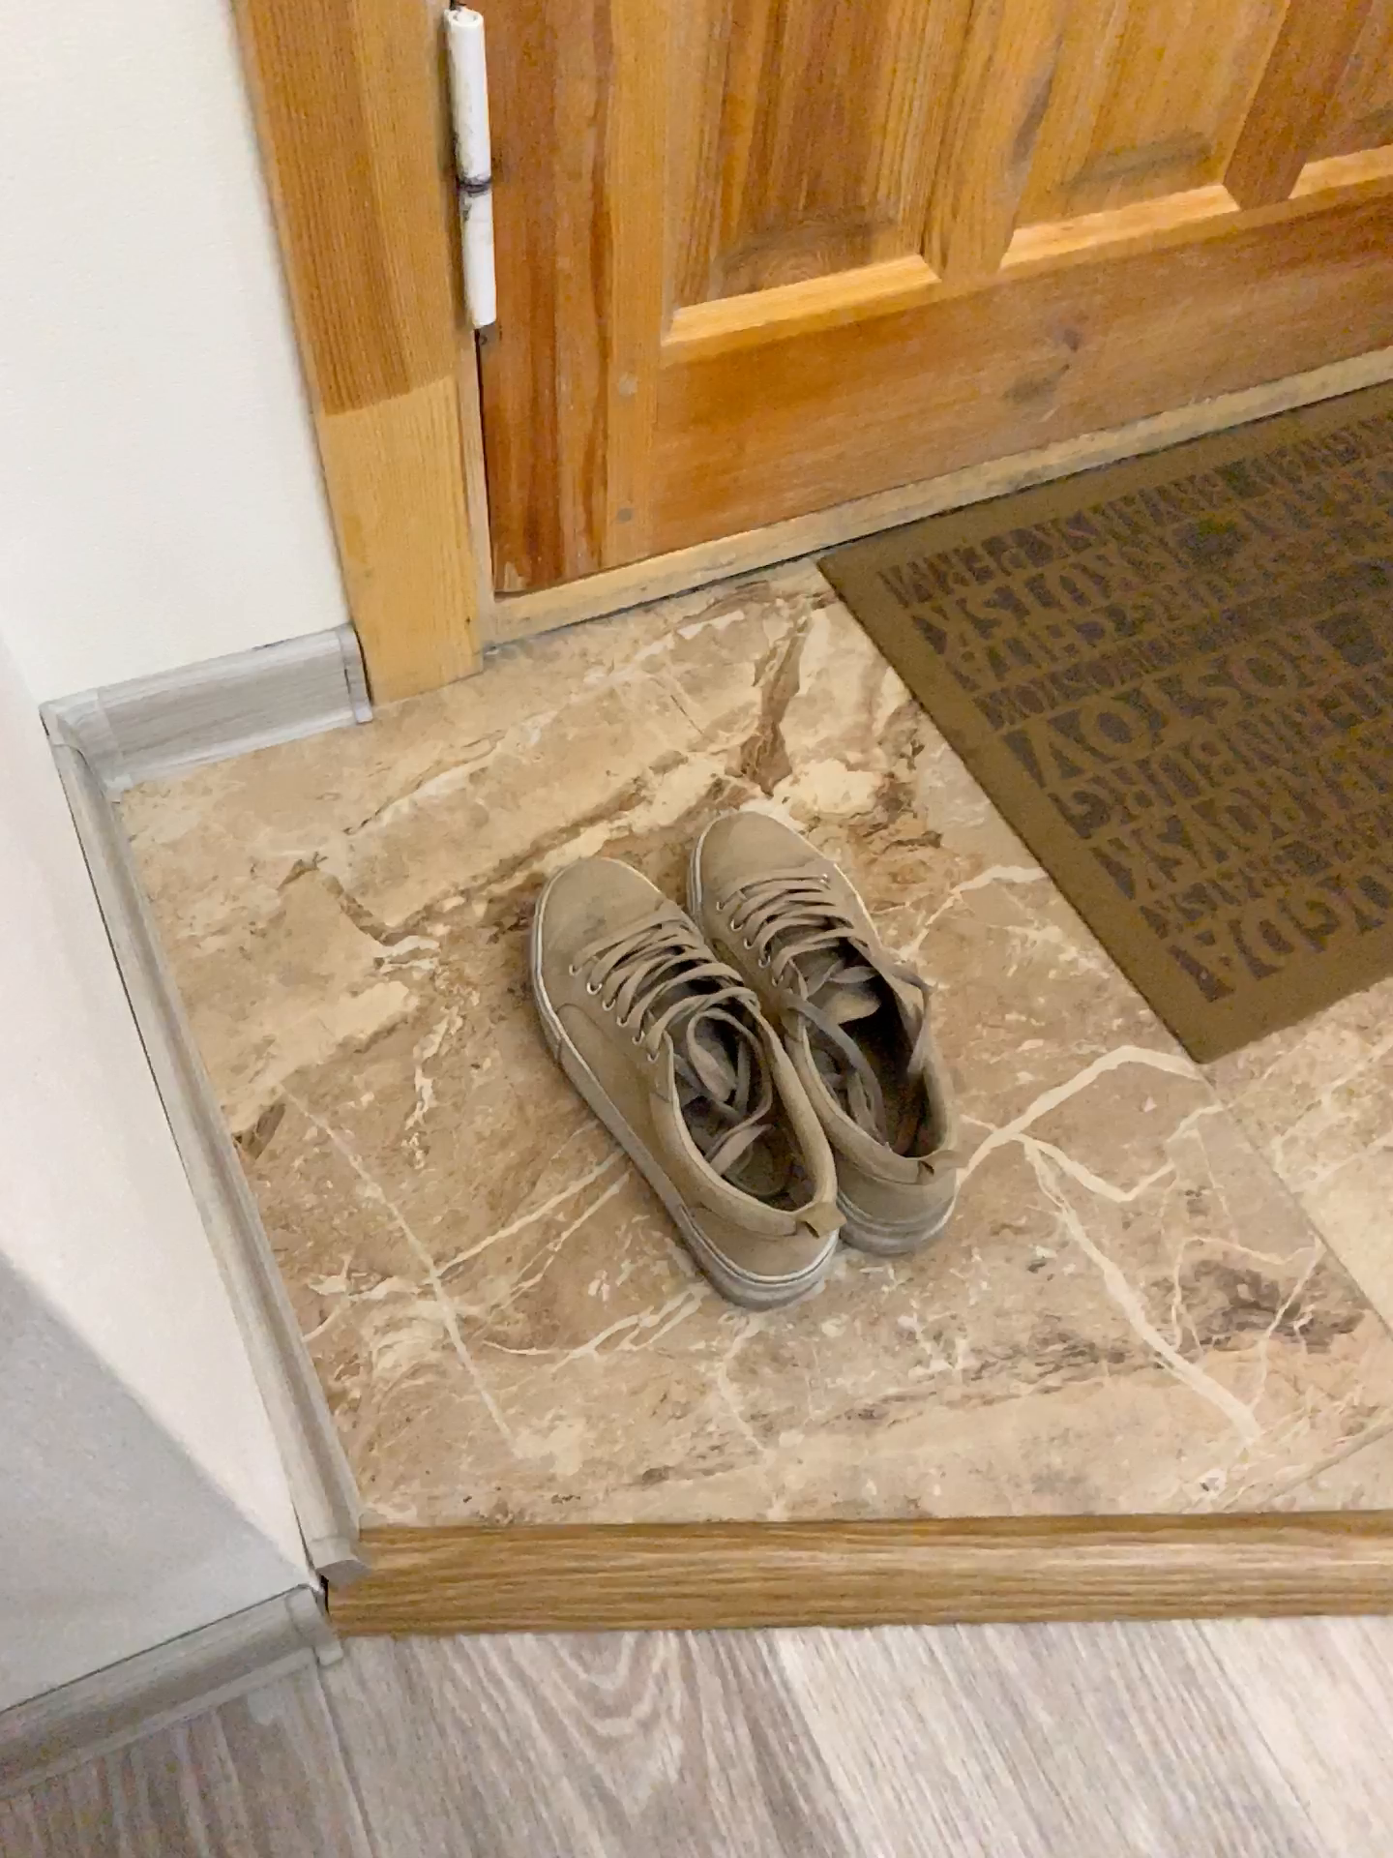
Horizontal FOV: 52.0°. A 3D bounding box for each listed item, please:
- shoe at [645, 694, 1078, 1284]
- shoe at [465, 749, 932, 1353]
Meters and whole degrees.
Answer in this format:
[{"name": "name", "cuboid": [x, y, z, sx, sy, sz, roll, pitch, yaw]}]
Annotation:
[{"name": "shoe", "cuboid": [0.062, 0.021, 0.657, 0.090, 0.100, 0.241, -16, 59, -15]}, {"name": "shoe", "cuboid": [-0.009, 0.049, 0.643, 0.090, 0.100, 0.241, -24, 61, -19]}]
